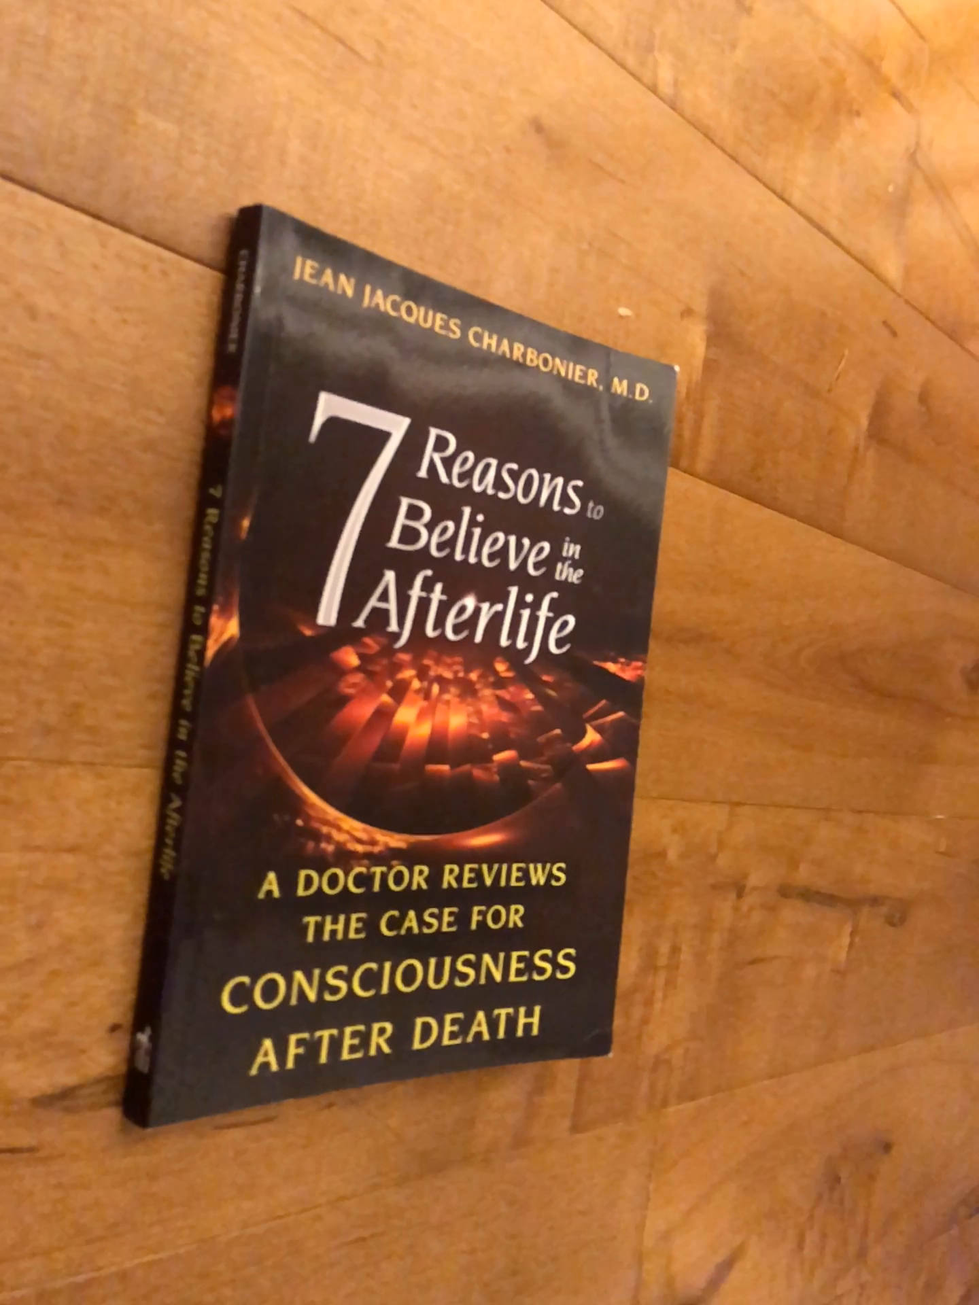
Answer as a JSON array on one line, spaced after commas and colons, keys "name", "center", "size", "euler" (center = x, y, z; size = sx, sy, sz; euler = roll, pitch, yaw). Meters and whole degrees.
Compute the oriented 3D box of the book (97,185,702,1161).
[{"name": "book", "center": [-0.016, 0.012, 0.336], "size": [0.171, 0.030, 0.250], "euler": [8, 89, -38]}]
